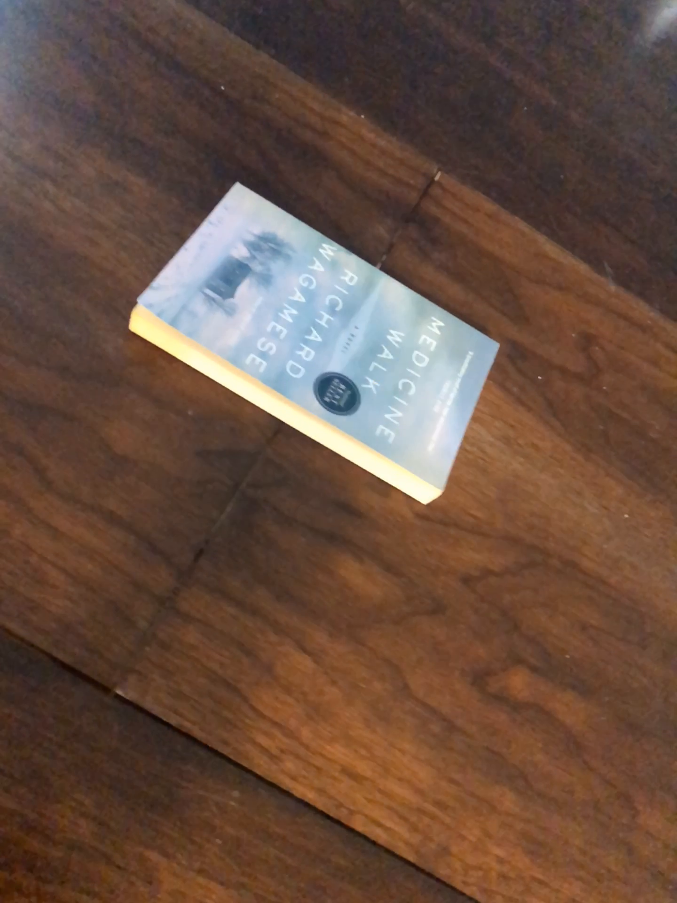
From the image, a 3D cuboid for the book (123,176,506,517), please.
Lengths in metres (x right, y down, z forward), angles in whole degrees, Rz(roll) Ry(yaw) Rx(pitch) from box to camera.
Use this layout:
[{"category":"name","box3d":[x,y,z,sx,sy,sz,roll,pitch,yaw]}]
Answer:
[{"category":"book","box3d":[-0.006,-0.070,0.471,0.206,0.027,0.138,31,57,-5]}]
